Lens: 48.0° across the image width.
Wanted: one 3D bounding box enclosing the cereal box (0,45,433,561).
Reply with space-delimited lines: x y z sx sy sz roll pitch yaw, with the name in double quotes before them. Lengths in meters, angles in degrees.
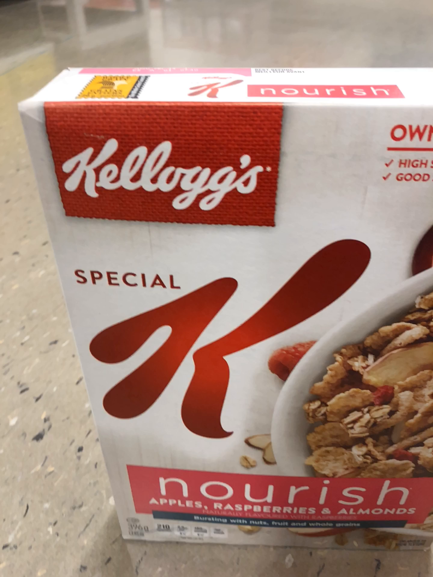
"cereal box" 0.033 0.043 0.242 0.210 0.289 0.050 1 39 2
